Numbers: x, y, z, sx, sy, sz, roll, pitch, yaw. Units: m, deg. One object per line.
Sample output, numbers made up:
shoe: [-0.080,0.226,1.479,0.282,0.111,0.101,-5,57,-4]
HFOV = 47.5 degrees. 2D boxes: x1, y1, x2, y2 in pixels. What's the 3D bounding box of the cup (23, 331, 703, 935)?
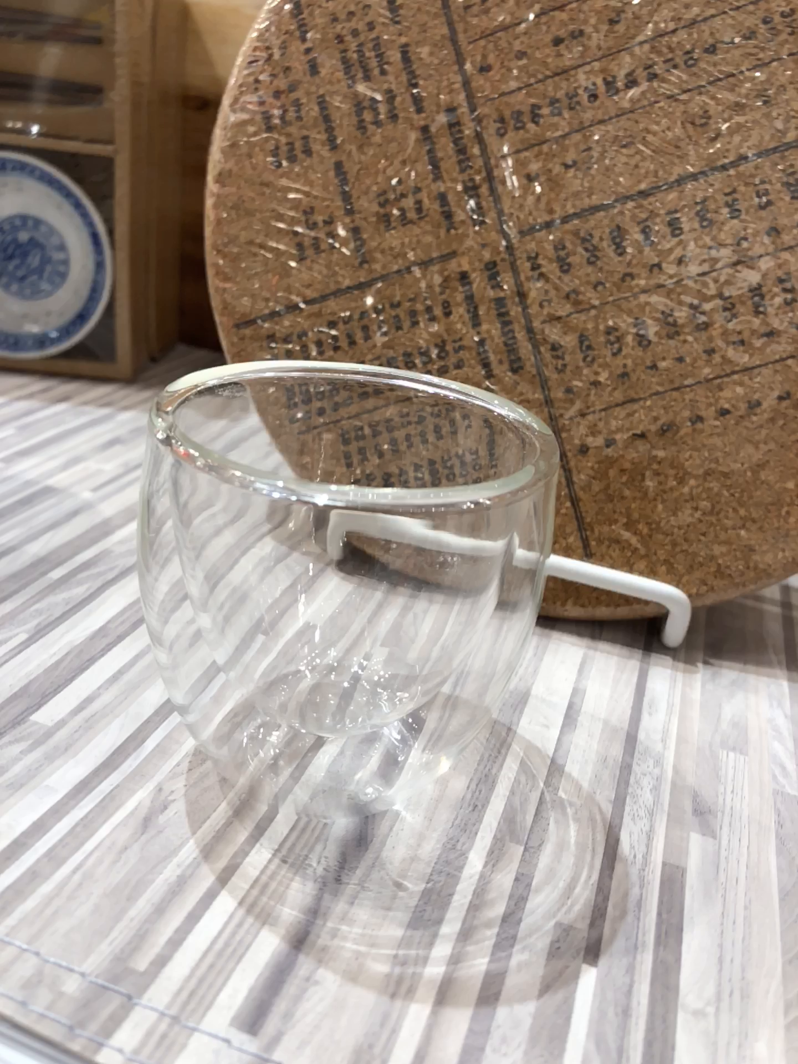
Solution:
cup: [-0.009,0.004,0.141,0.070,0.050,0.070,6,25,-3]
